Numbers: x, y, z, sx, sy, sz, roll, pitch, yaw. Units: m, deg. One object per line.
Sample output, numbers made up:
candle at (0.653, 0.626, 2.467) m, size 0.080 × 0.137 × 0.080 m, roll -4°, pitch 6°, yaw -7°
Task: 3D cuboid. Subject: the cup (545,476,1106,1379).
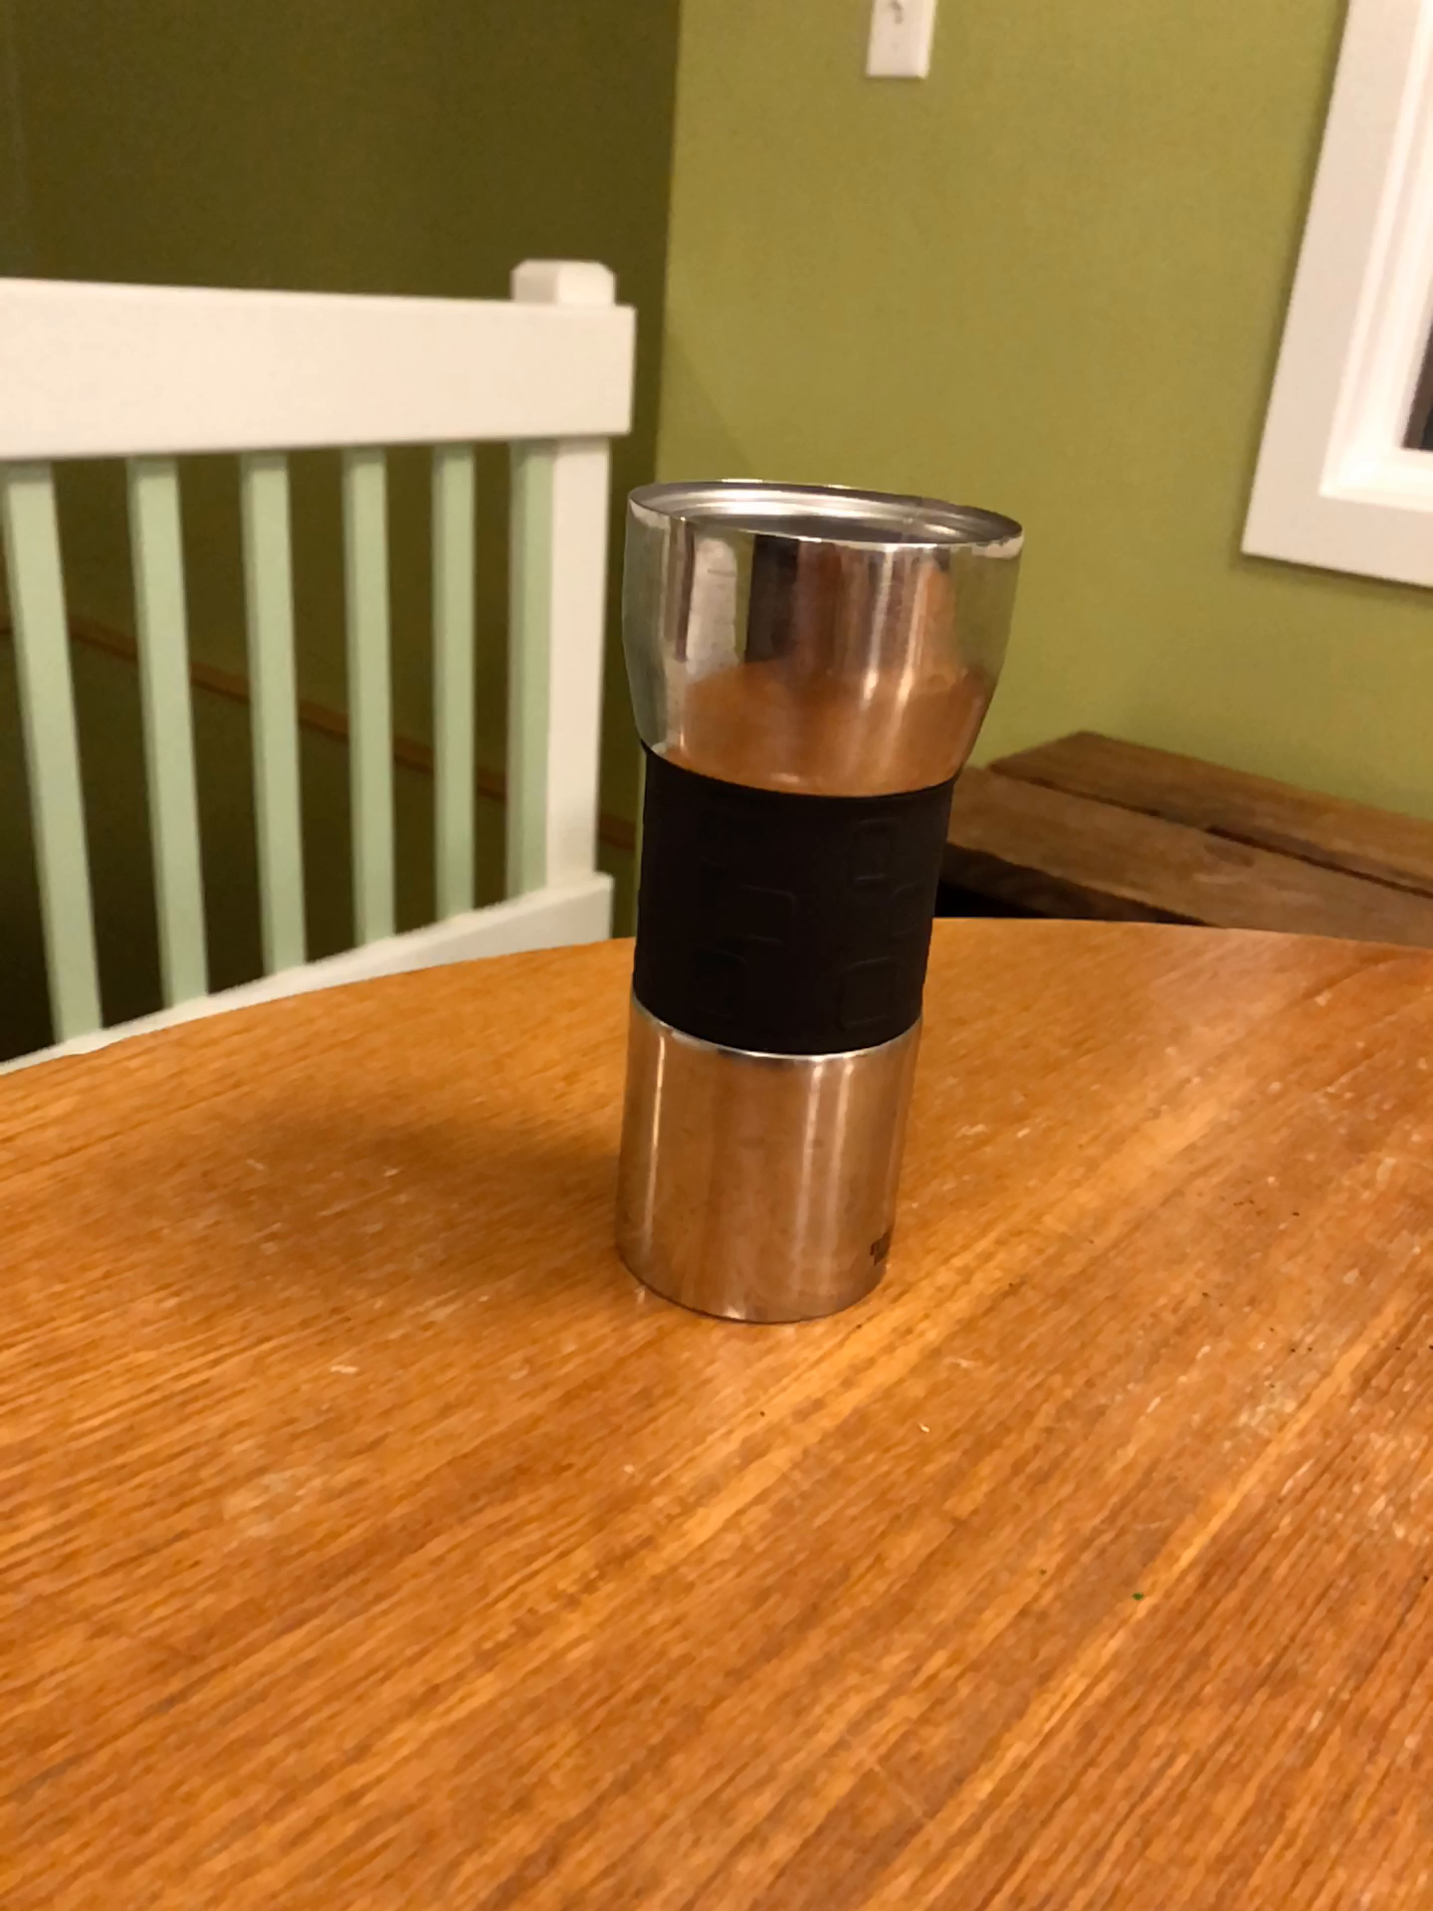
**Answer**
cup at (0.023, -0.012, 0.363) m, size 0.083 × 0.173 × 0.088 m, roll 4°, pitch 23°, yaw -2°
